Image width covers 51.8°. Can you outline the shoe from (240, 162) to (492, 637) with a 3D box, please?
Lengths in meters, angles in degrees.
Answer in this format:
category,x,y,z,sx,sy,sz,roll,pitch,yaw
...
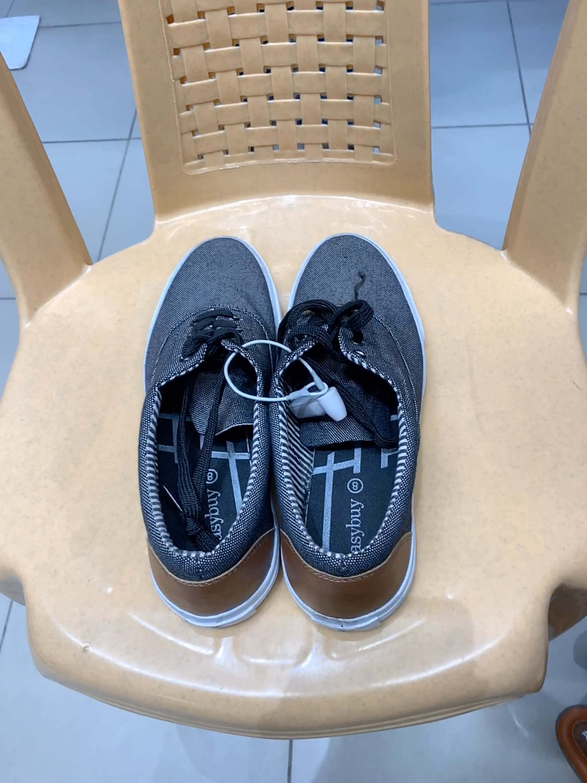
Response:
category,x,y,z,sx,sy,sz,roll,pitch,yaw
shoe,0.036,0.002,0.376,0.110,0.110,0.270,-3,63,5

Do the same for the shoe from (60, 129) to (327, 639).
category,x,y,z,sx,sy,sz,roll,pitch,yaw
shoe,-0.046,-0.008,0.345,0.100,0.110,0.260,-6,62,3
